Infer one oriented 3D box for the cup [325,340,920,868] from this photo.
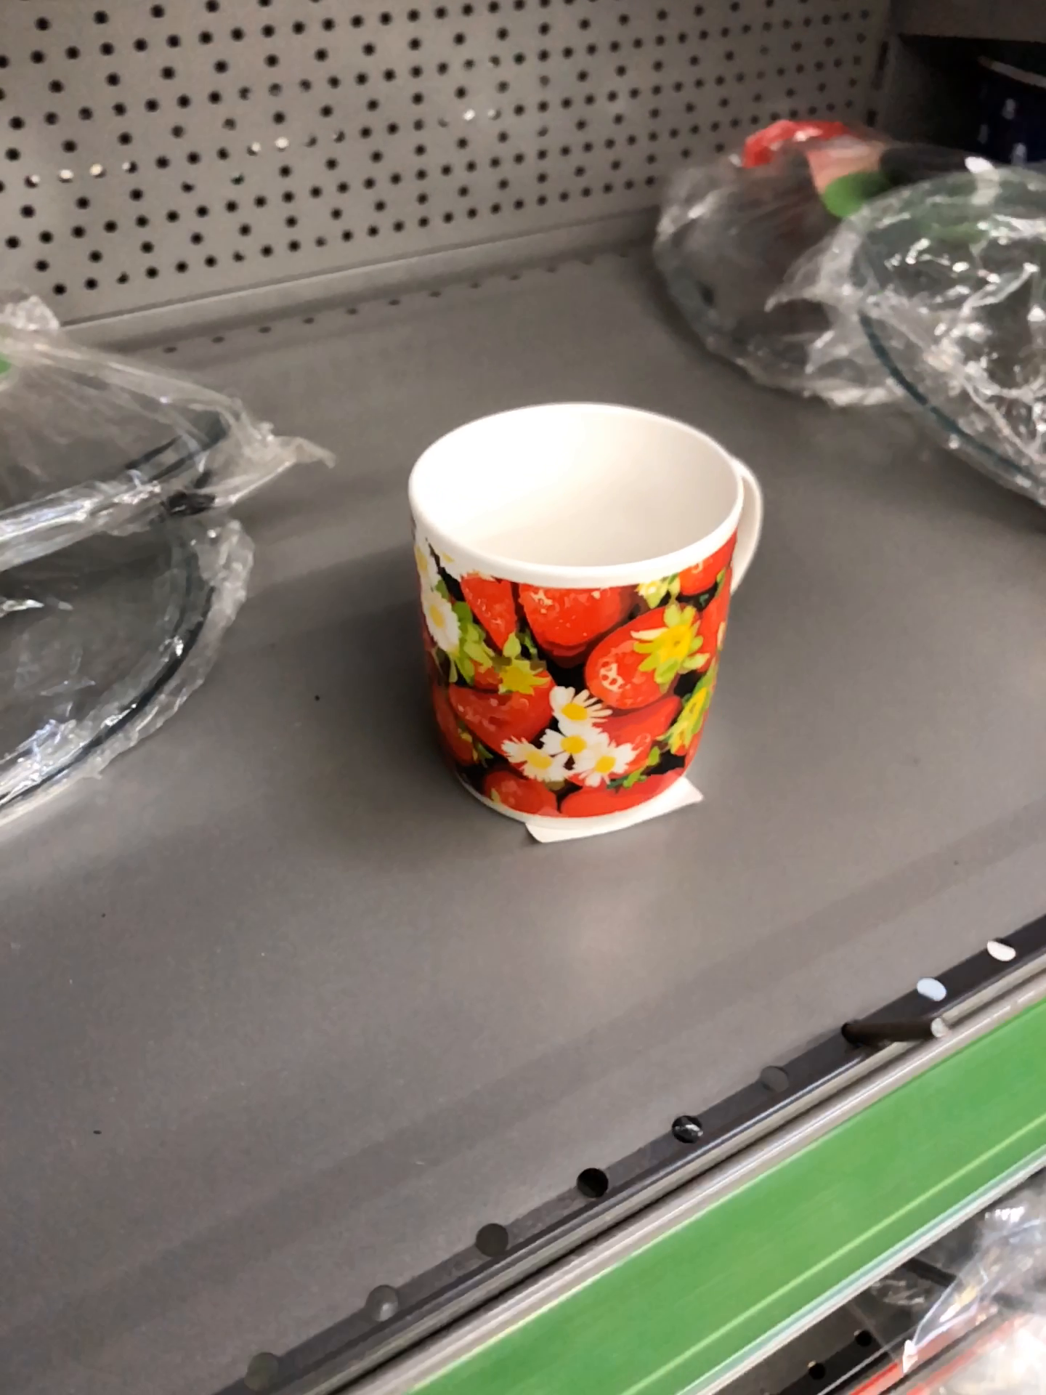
[{"bbox_3d":[0.026,-0.034,0.331,0.129,0.078,0.091,-25,46,-27],"label":"cup"}]
